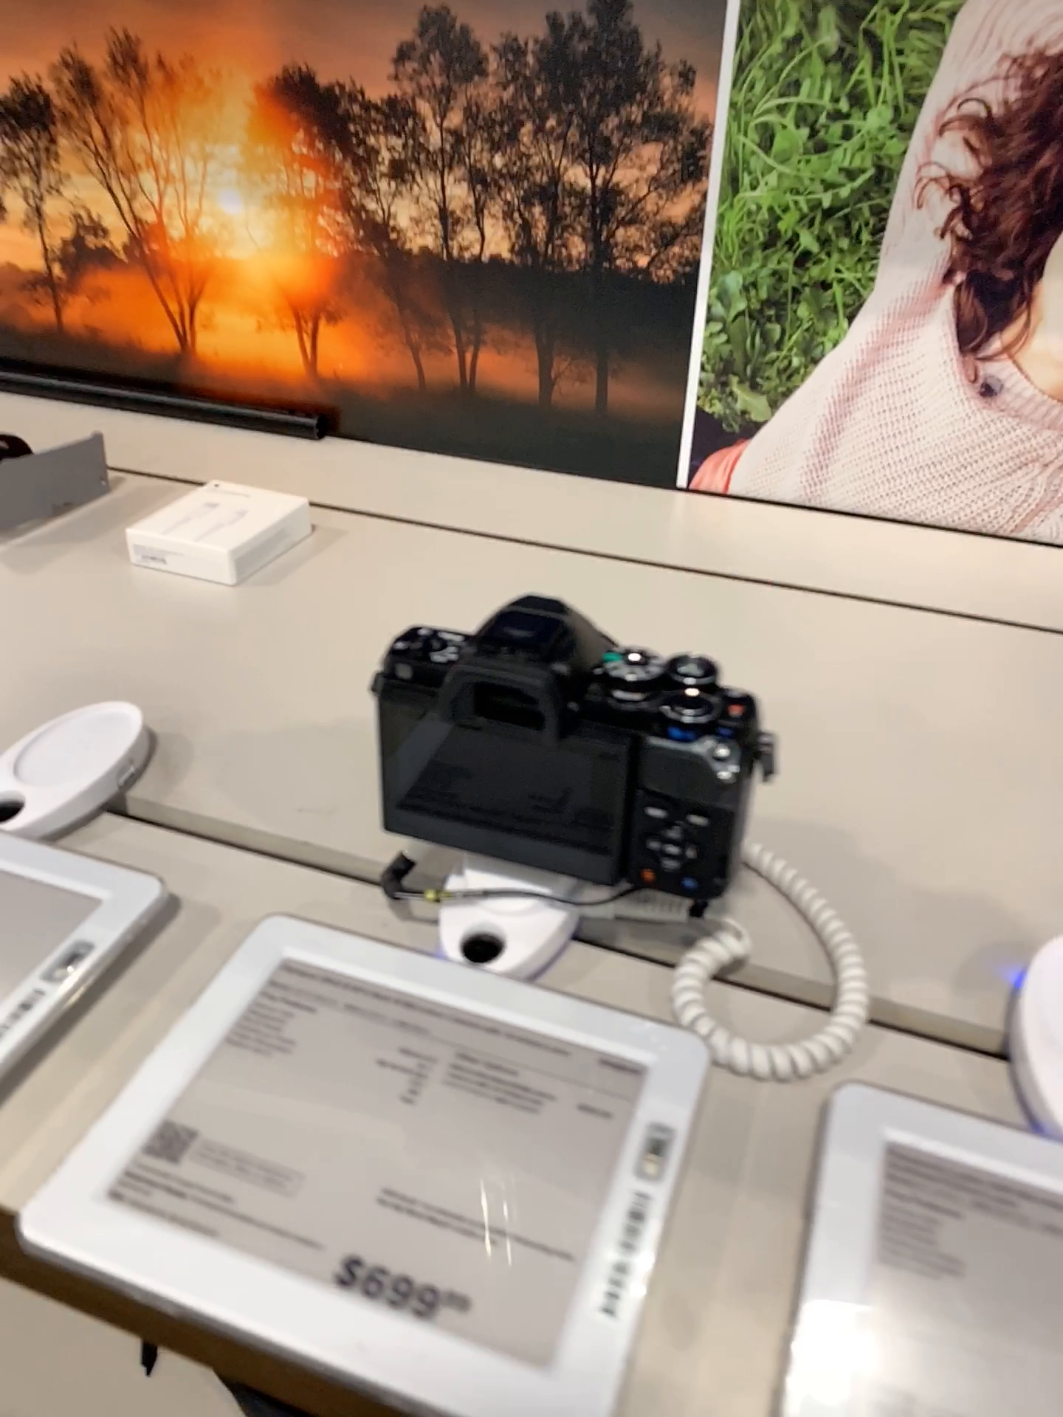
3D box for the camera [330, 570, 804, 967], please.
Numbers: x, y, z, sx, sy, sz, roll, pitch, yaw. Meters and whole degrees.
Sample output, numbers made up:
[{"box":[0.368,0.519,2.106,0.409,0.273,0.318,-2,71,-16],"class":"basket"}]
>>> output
[{"box":[0.013,0.015,0.352,0.130,0.080,0.070,11,34,15],"class":"camera"}]
